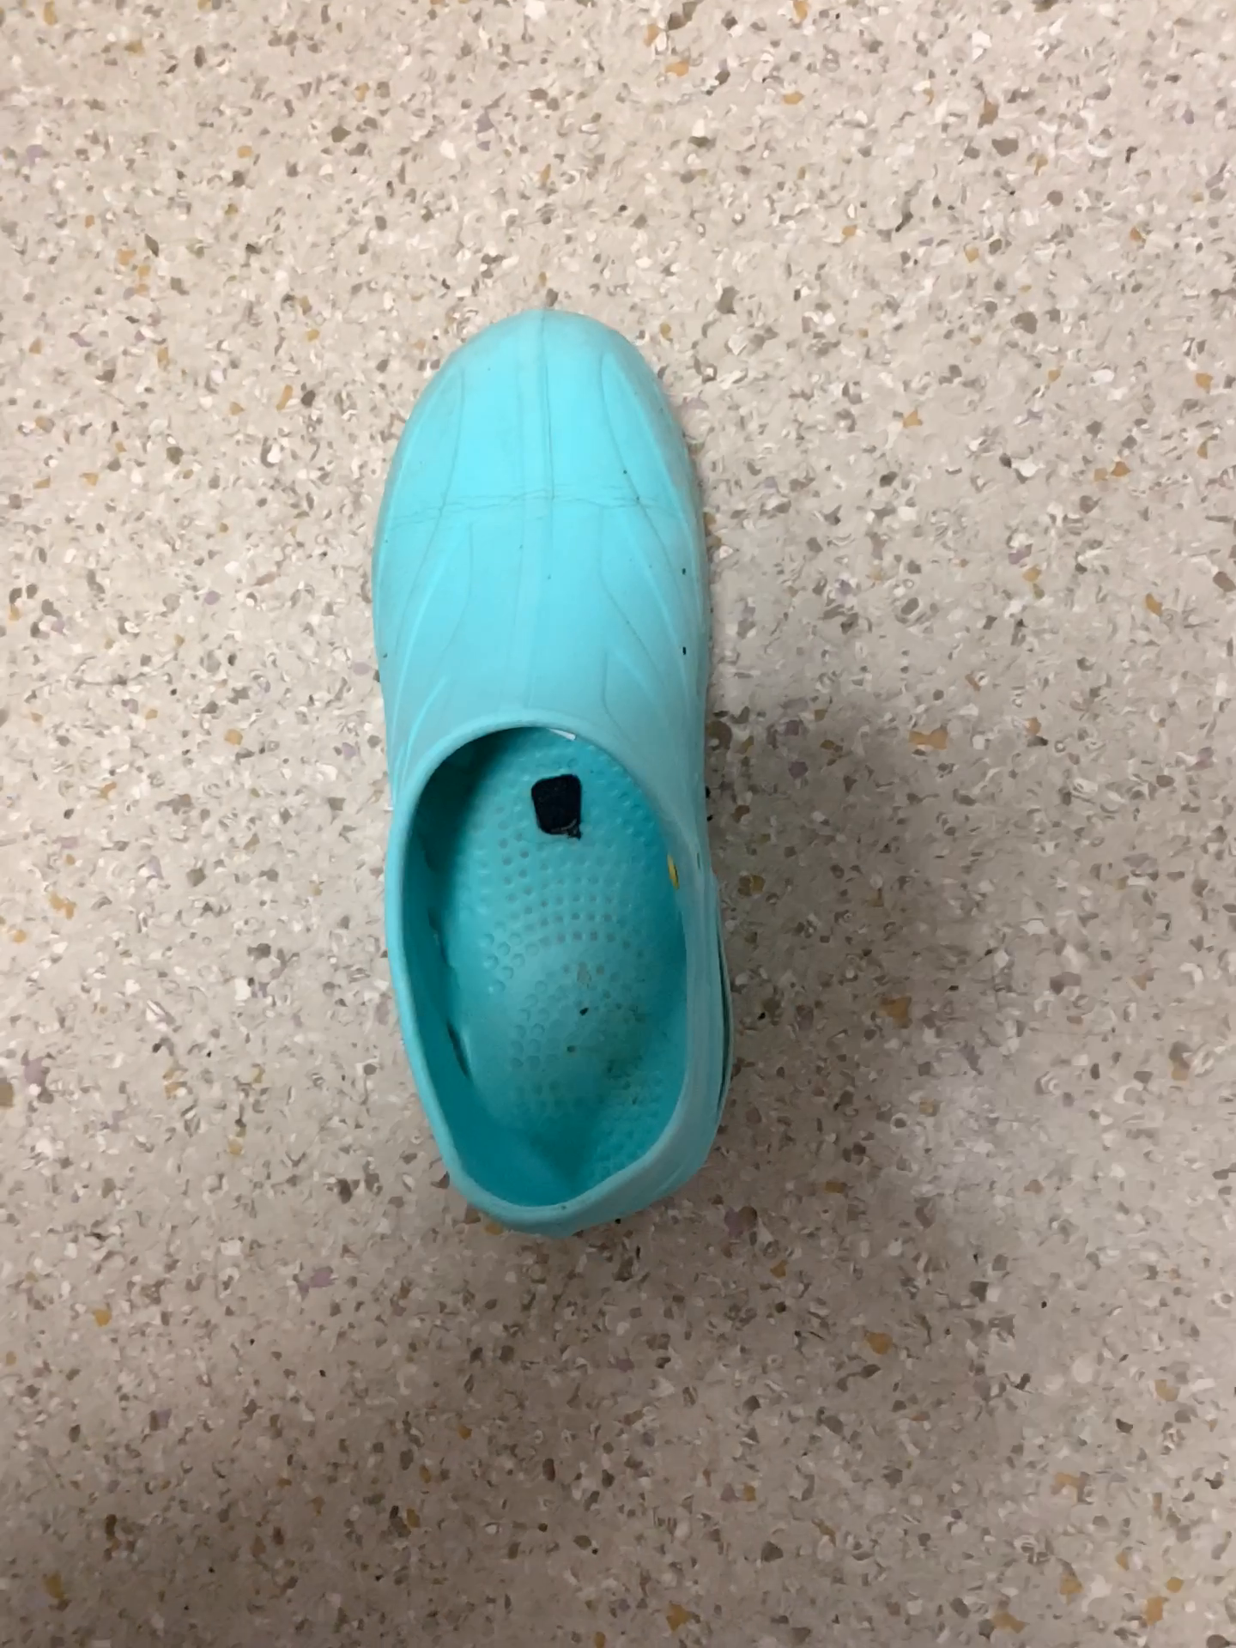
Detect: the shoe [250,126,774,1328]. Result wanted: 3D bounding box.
[{"bbox_3d":[-0.022,-0.020,0.350,0.105,0.106,0.275,-4,88,10],"label":"shoe"}]
